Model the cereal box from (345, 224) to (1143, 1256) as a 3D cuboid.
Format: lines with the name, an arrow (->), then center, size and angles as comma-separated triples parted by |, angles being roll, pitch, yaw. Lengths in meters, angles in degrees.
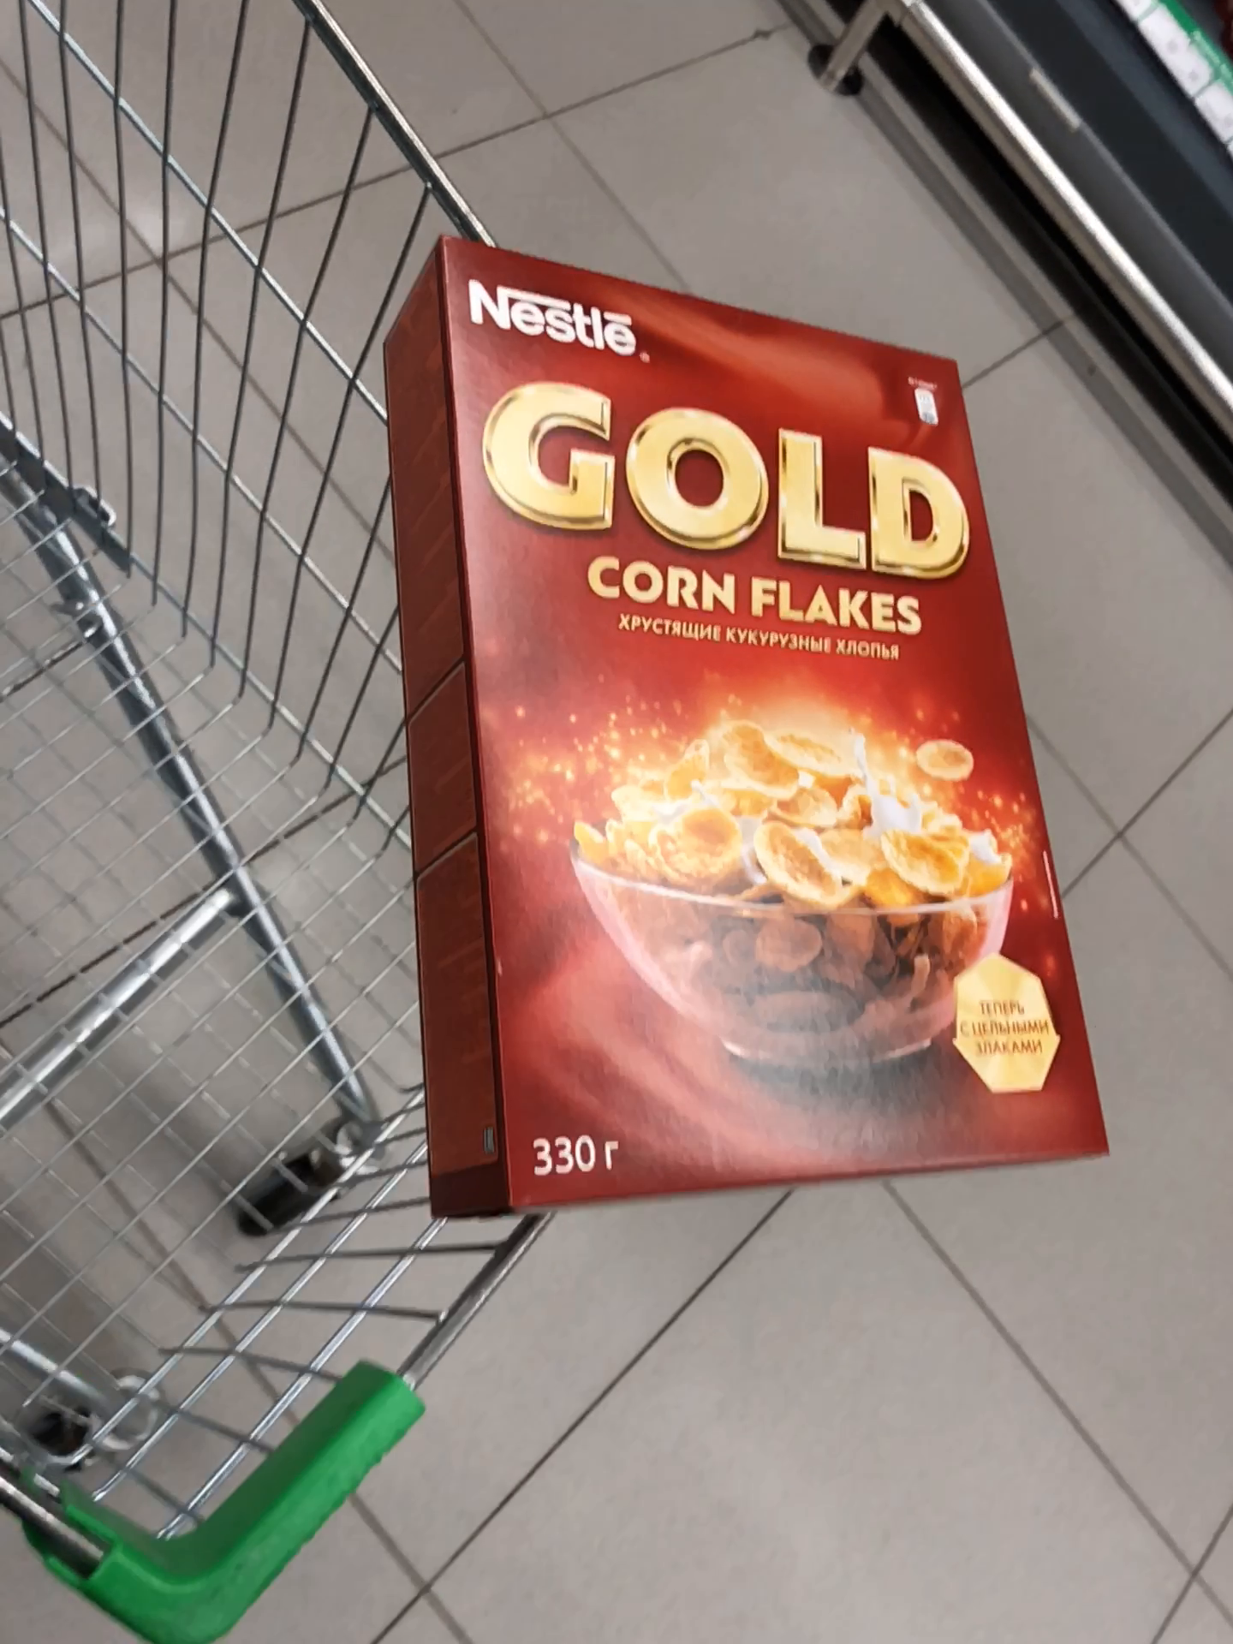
cereal box -> 0.033, -0.024, 0.417 | 0.211, 0.060, 0.280 | 2, 71, -25
